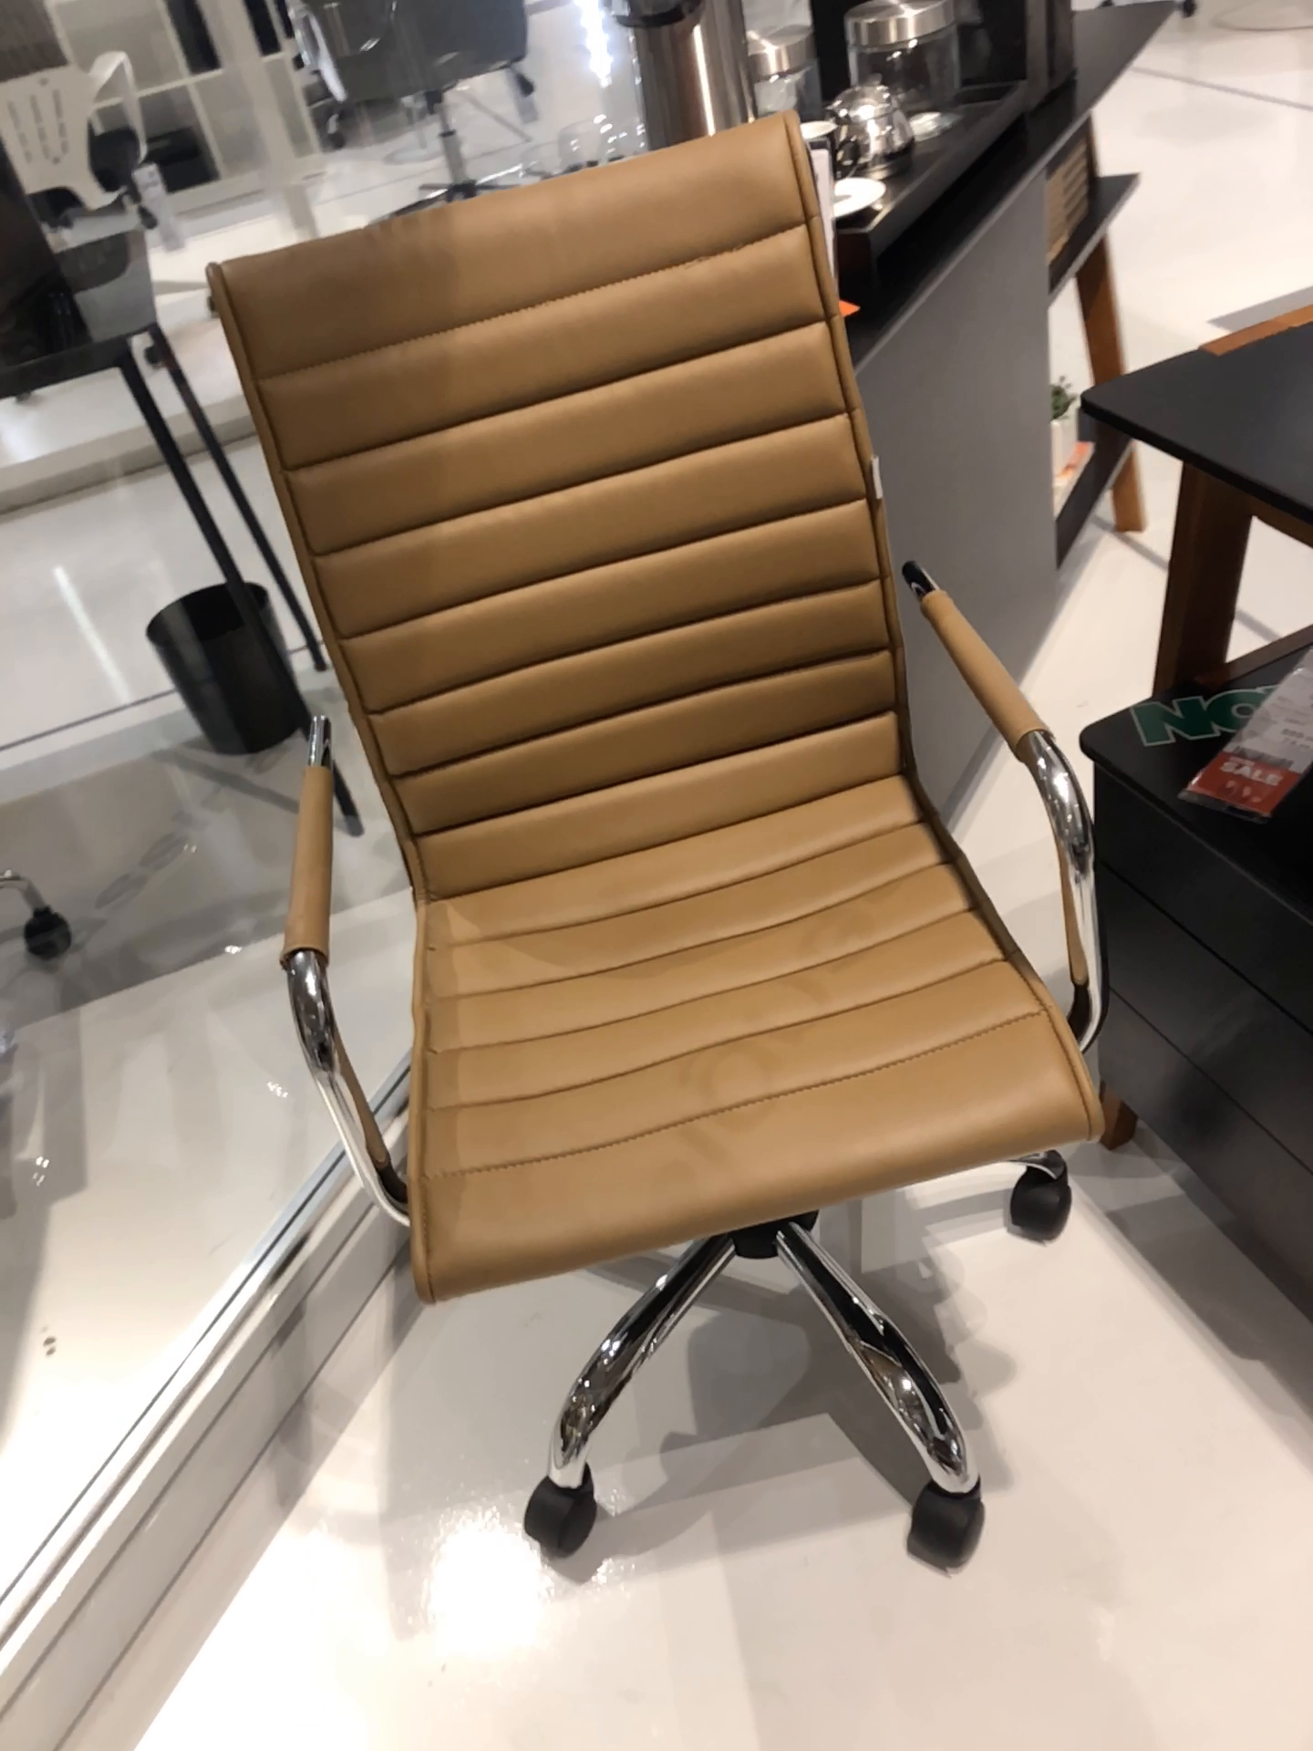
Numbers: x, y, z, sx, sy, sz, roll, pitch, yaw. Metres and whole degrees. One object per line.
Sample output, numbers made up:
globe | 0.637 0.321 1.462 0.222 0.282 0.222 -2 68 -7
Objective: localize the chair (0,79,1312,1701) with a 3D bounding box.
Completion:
chair | 0.020 0.040 1.097 0.600 0.943 0.615 -14 38 1
